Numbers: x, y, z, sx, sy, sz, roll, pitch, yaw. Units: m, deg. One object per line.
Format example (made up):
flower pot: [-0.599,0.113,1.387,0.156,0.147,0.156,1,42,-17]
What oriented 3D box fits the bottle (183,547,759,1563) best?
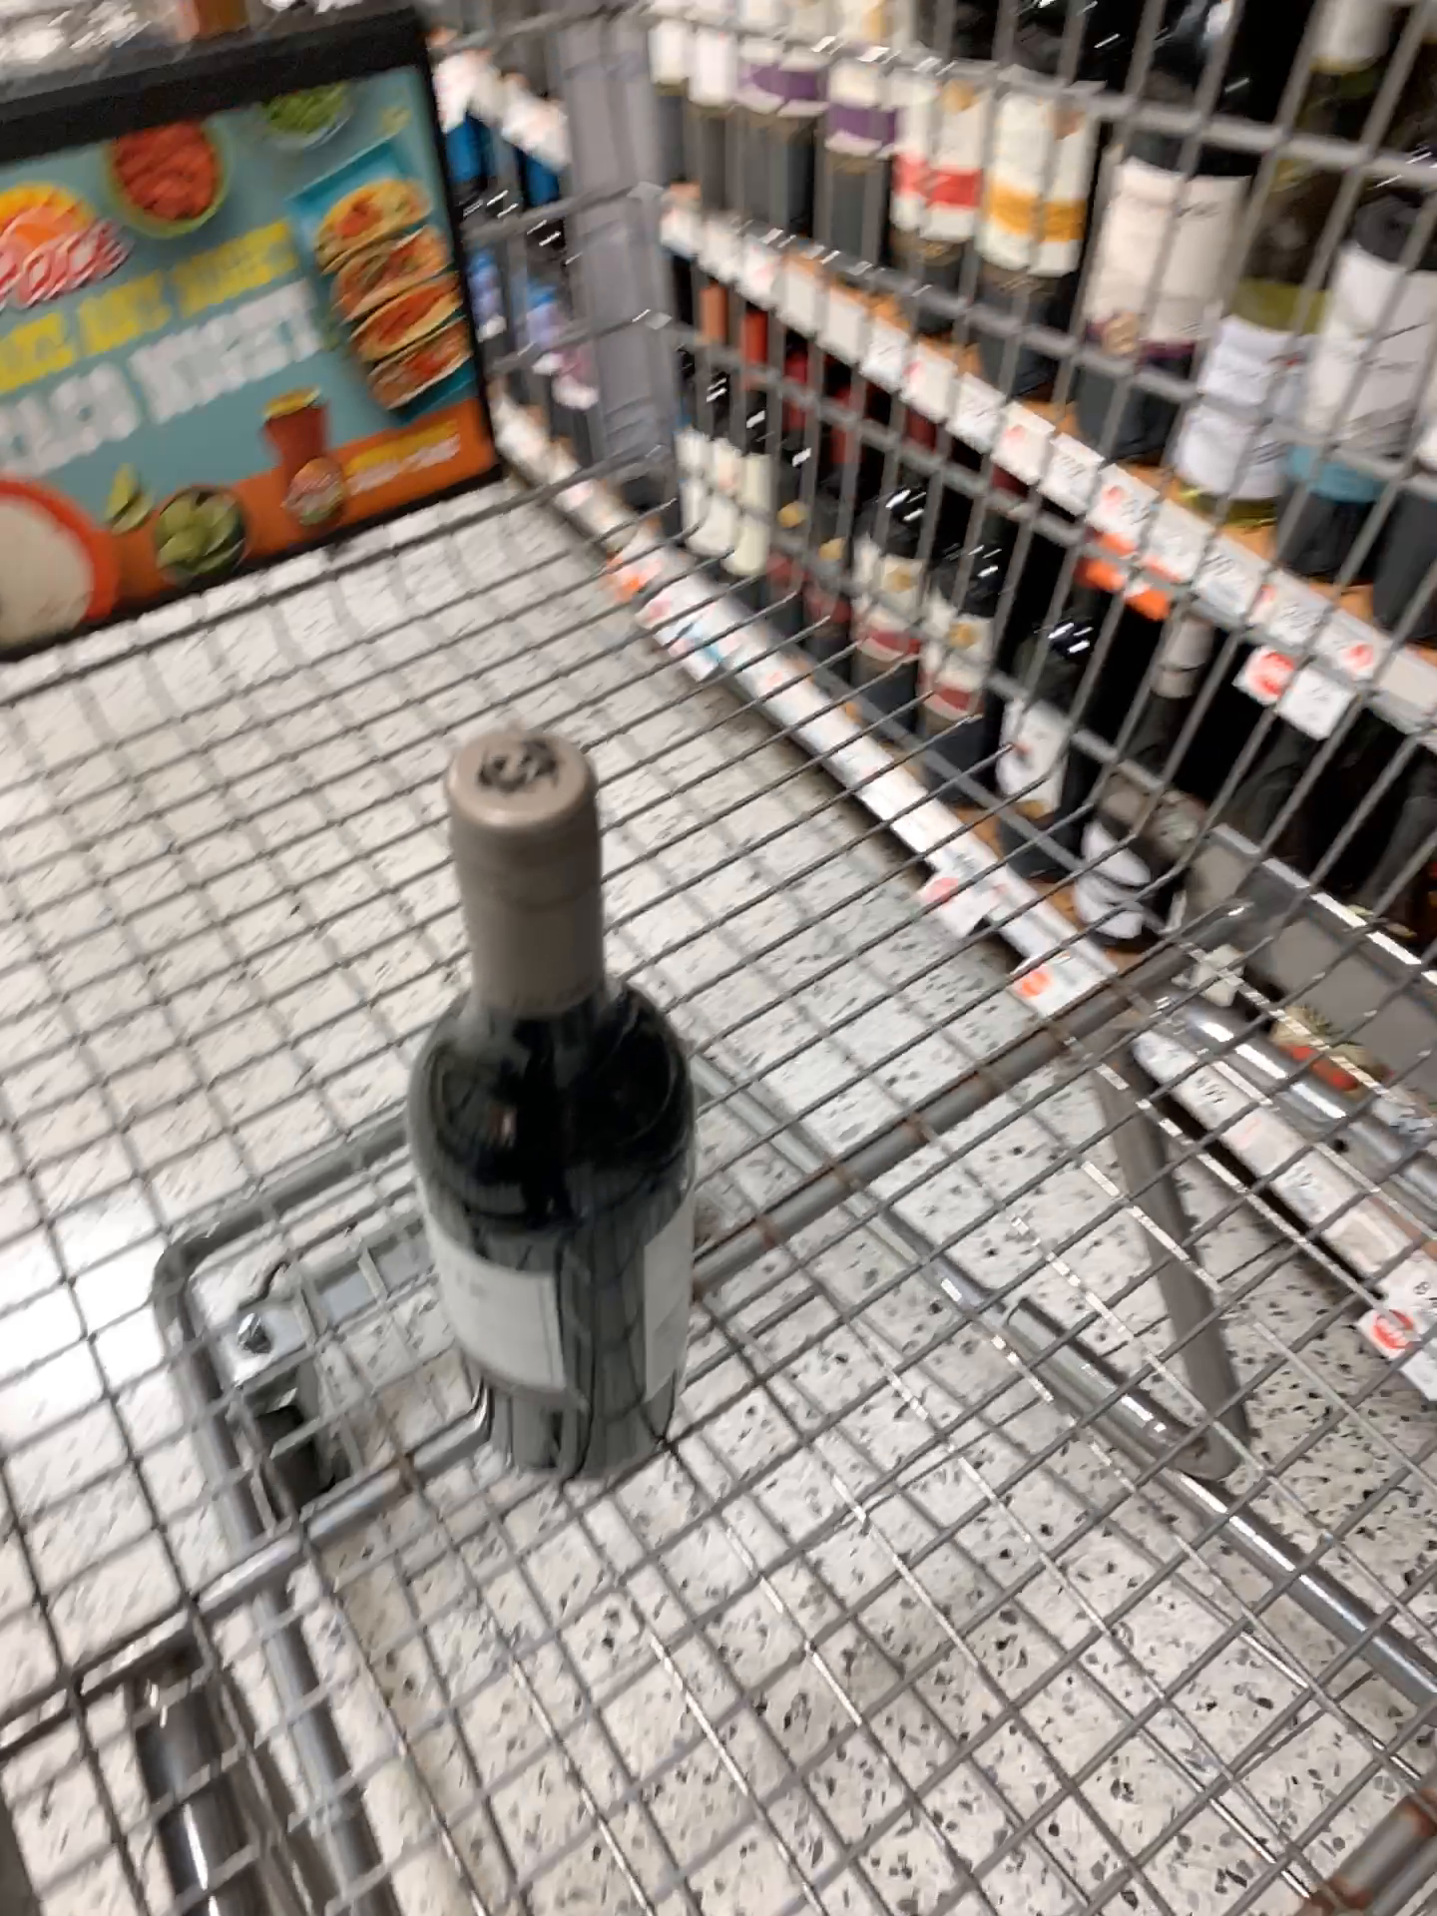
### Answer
bottle: [-0.048,0.057,0.400,0.090,0.317,0.091,-1,51,1]
